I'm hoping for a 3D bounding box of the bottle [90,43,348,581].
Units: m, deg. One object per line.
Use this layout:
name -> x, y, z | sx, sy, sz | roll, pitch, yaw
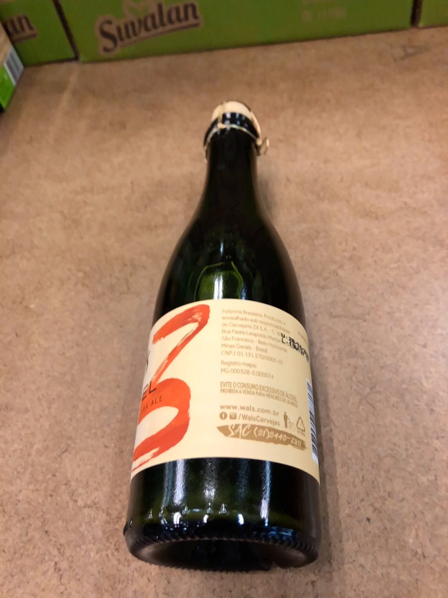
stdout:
bottle -> 0.004, -0.026, 0.237 | 0.070, 0.050, 0.272 | -3, 52, 7
